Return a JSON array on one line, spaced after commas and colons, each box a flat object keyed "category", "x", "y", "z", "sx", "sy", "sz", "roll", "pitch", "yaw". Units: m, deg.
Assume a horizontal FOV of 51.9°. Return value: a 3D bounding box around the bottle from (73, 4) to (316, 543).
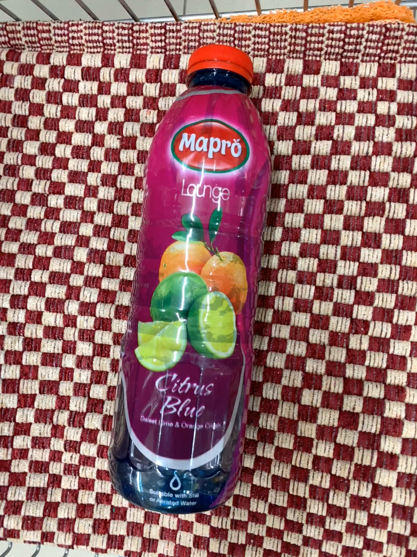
[{"category": "bottle", "x": -0.010, "y": 0.002, "z": 0.240, "sx": 0.090, "sy": 0.070, "sz": 0.250, "roll": 6, "pitch": 94, "yaw": -2}]
